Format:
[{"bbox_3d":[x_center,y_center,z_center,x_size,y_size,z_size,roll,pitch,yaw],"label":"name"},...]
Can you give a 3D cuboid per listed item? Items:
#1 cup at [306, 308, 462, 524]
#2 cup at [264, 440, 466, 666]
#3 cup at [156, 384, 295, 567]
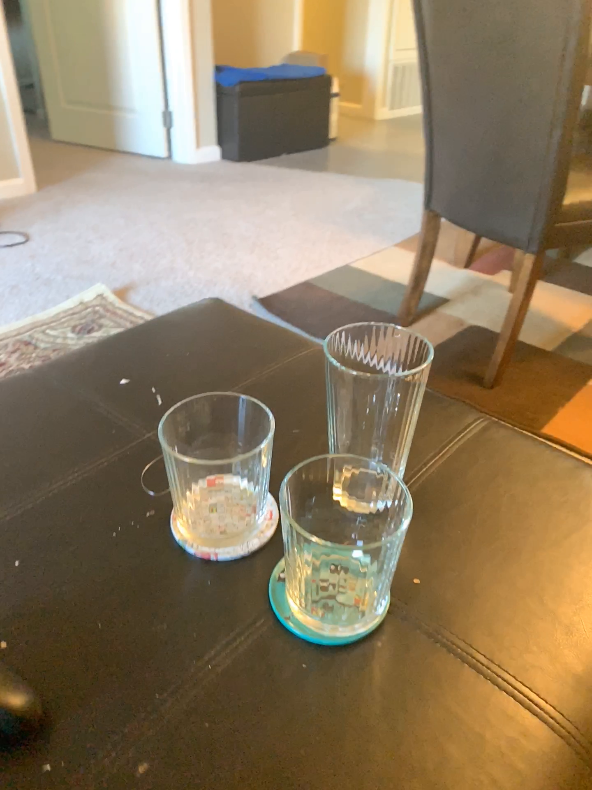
[{"bbox_3d":[0.066,0.016,0.509,0.080,0.139,0.091,-12,36,-20],"label":"cup"},{"bbox_3d":[0.041,0.104,0.423,0.100,0.089,0.091,-12,36,-20],"label":"cup"},{"bbox_3d":[-0.059,0.066,0.518,0.090,0.109,0.080,-12,36,-20],"label":"cup"}]
